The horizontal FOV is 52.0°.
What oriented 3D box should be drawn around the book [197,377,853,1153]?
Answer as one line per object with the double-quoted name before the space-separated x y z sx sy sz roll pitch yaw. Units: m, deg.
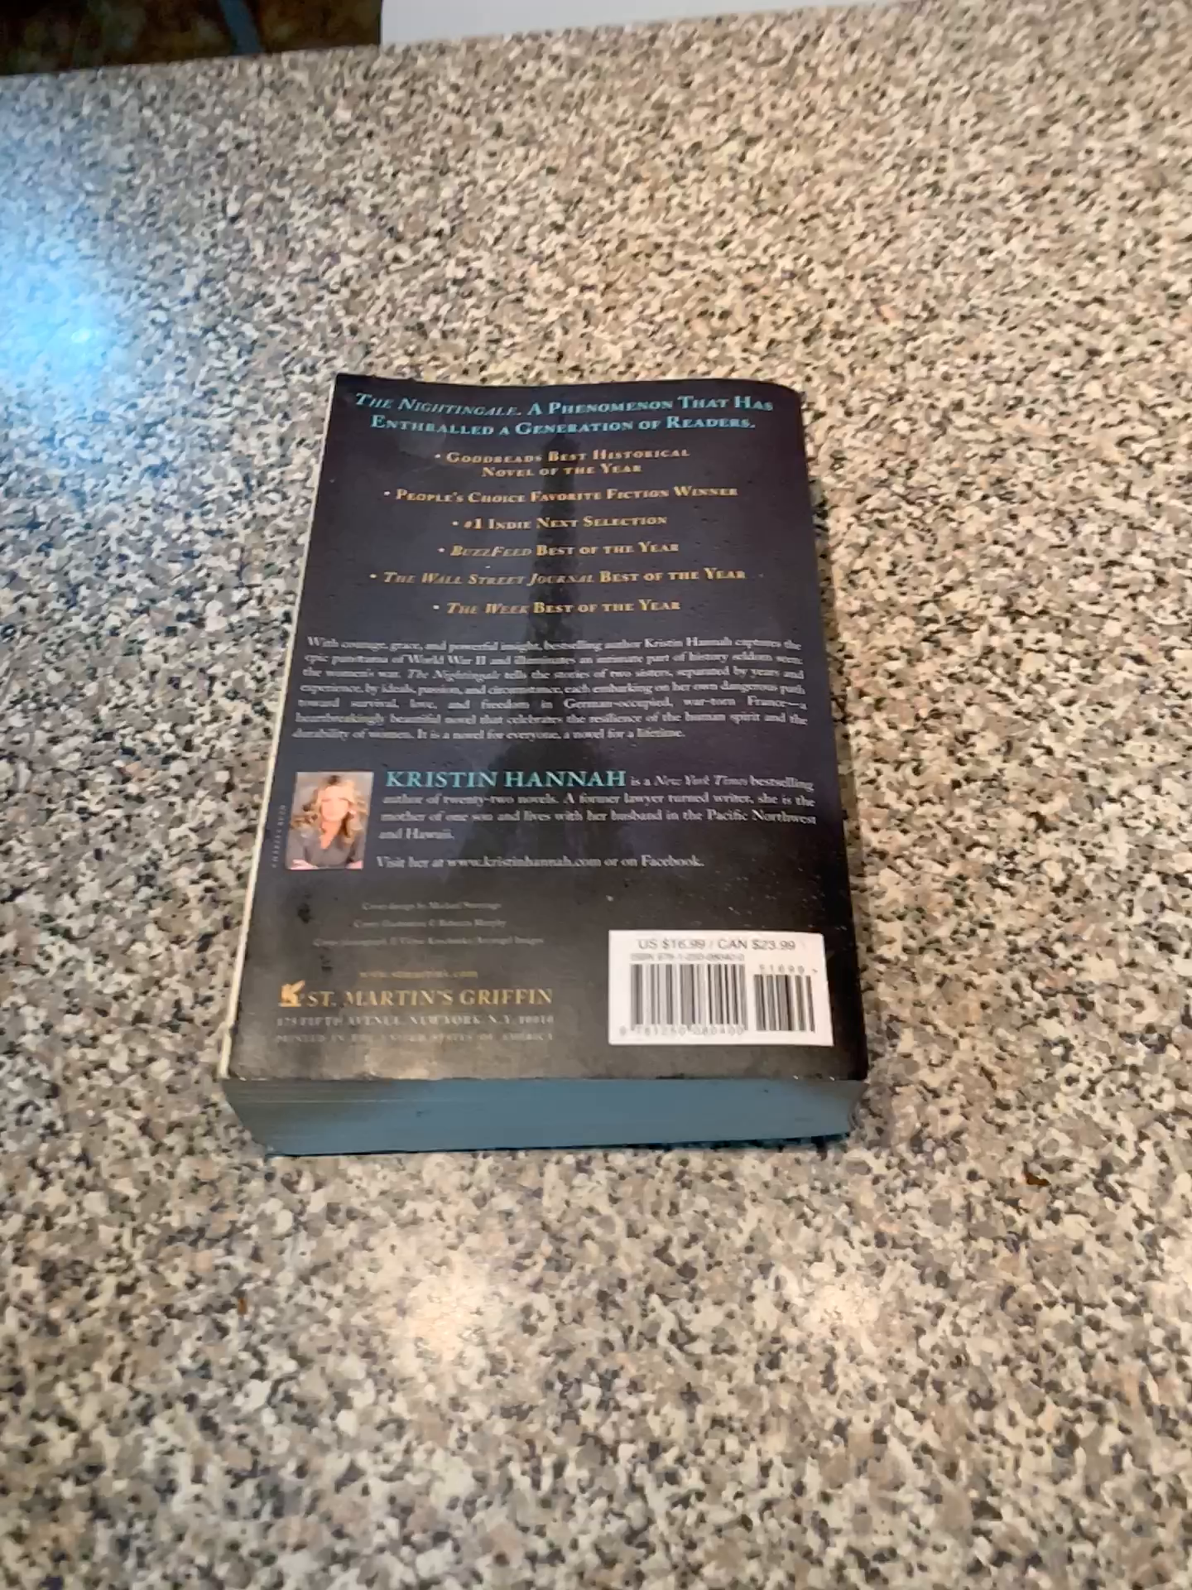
"book" -0.011 -0.016 0.331 0.139 0.056 0.207 0 61 4
